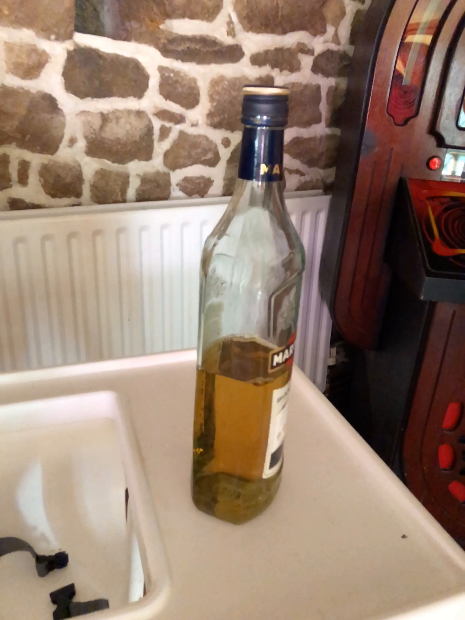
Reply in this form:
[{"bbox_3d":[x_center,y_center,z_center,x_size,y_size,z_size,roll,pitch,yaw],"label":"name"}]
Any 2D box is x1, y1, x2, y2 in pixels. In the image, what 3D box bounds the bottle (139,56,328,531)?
[{"bbox_3d":[0.001,-0.007,0.375,0.080,0.318,0.111,11,26,20],"label":"bottle"}]
